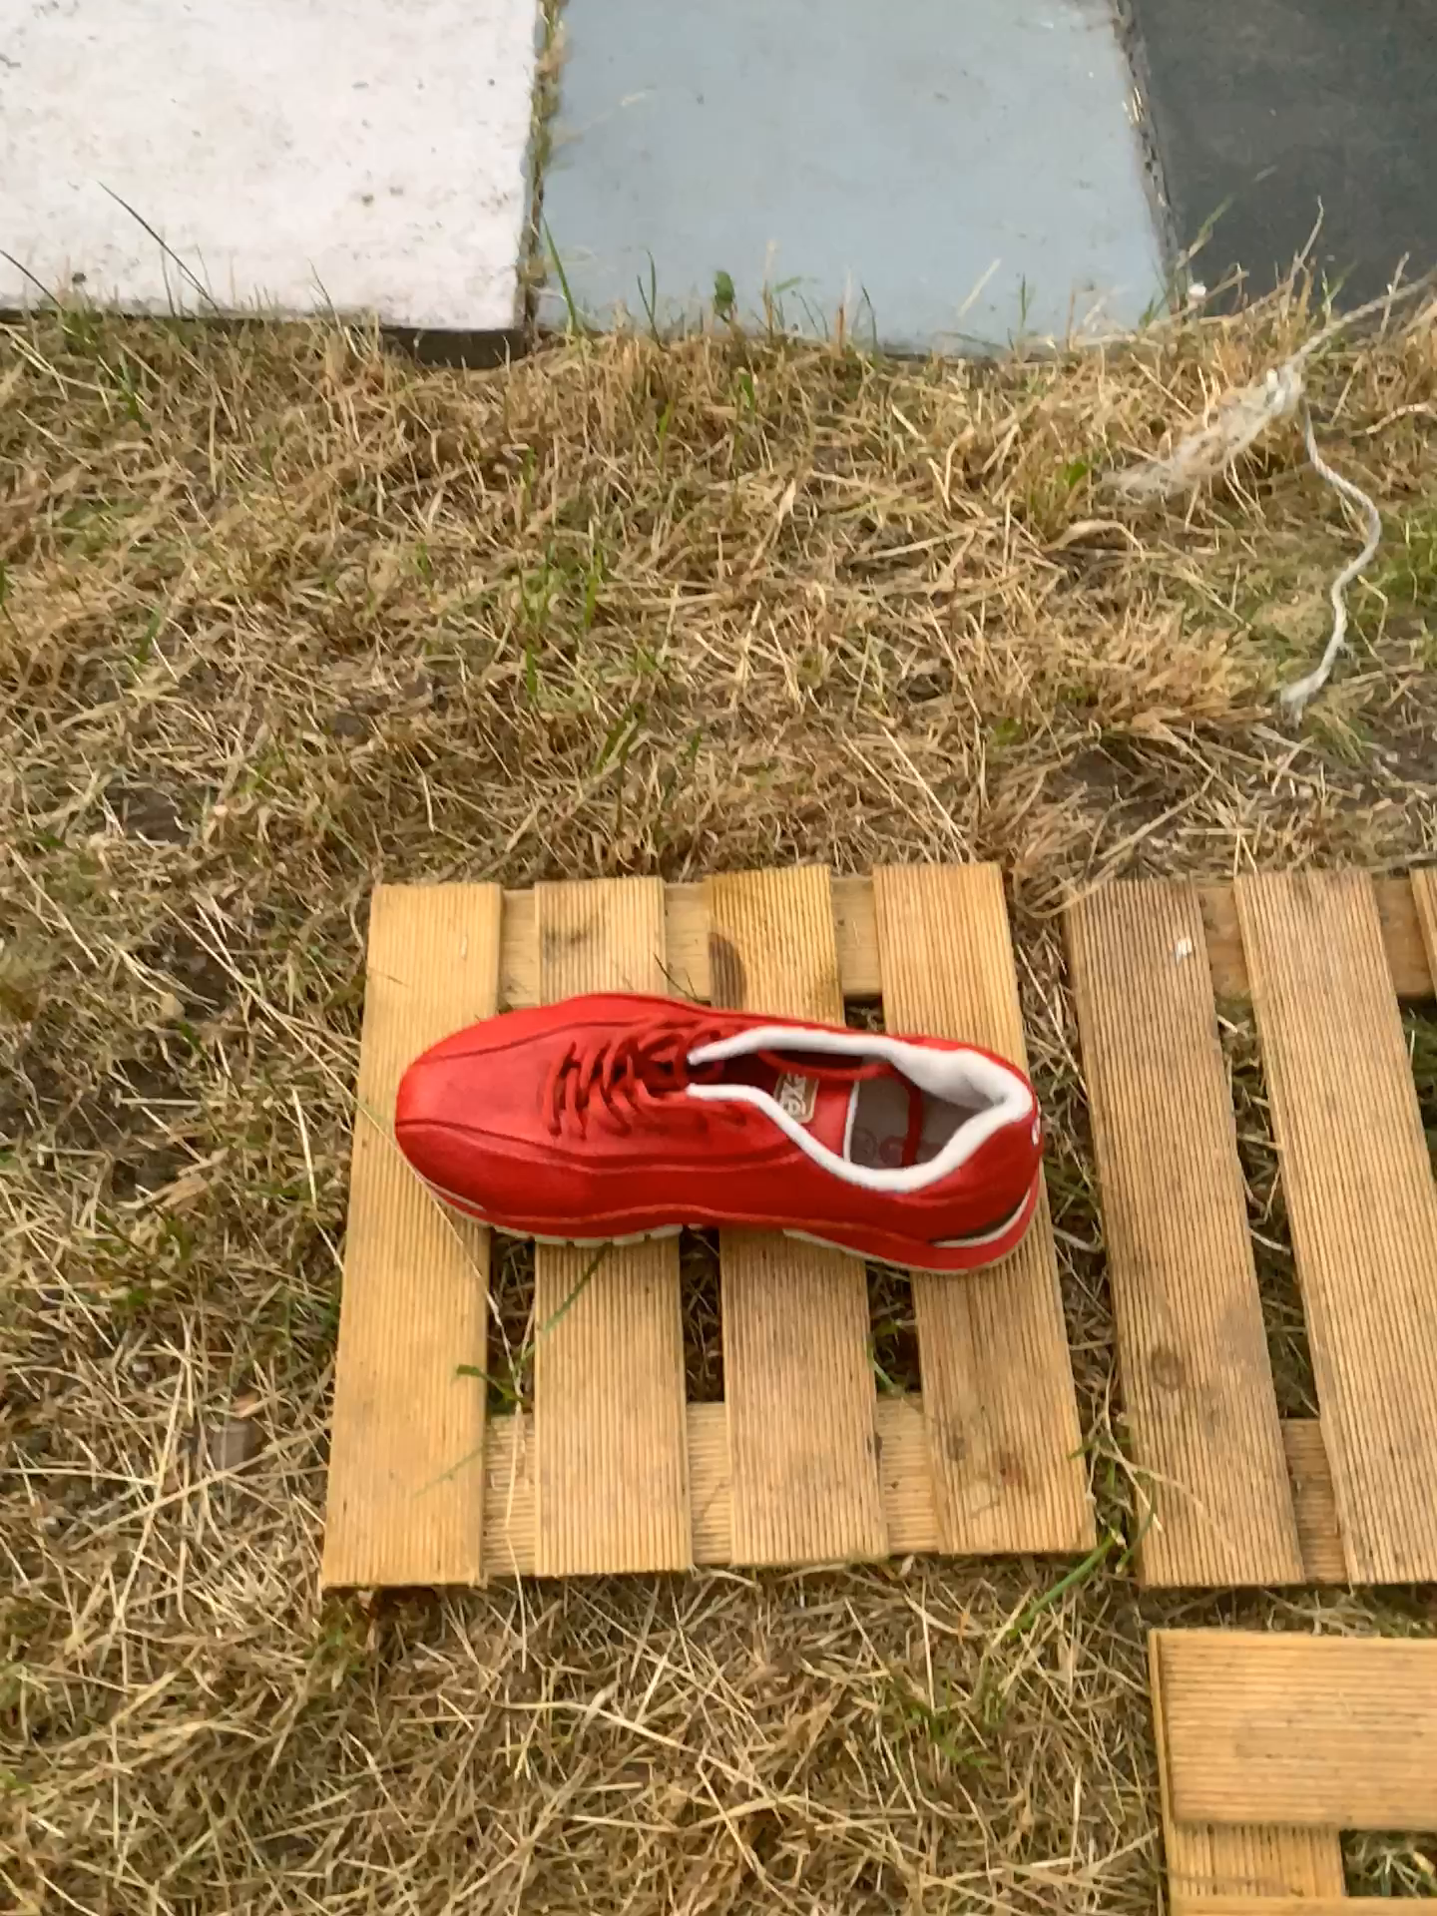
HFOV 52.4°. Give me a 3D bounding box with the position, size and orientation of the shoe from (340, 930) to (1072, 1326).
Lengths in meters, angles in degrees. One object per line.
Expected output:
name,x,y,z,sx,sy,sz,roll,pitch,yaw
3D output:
shoe,0.001,0.068,0.585,0.260,0.099,0.101,6,64,9
